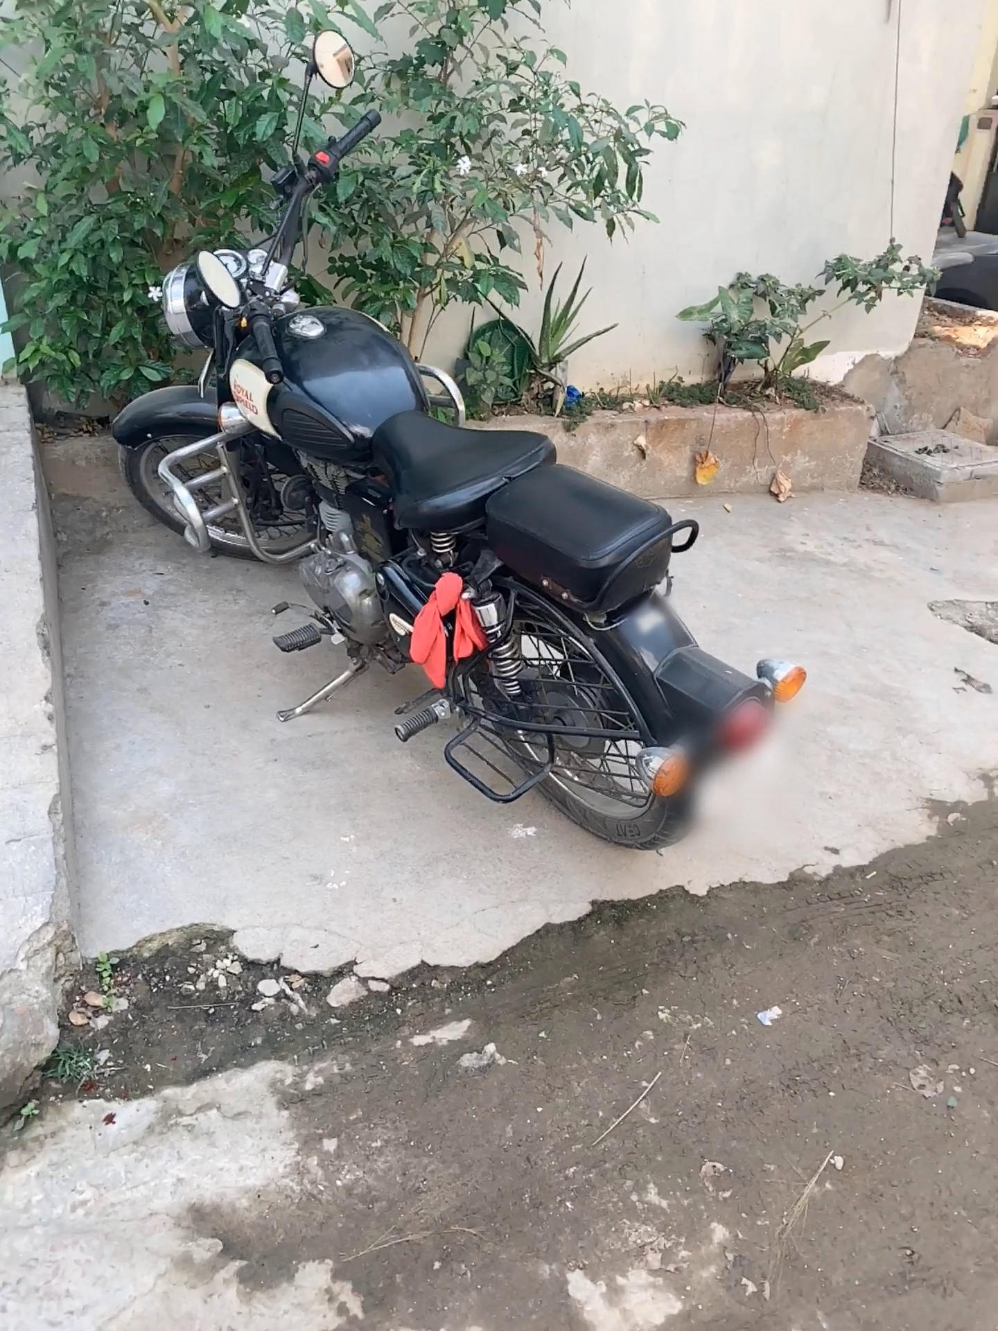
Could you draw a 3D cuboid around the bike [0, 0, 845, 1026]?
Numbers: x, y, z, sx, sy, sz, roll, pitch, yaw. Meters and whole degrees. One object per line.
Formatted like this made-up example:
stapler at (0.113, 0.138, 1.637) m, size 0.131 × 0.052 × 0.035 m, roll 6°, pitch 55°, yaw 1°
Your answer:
bike at (-0.415, -0.526, 2.056) m, size 1.790 × 1.340 × 0.747 m, roll 29°, pitch 38°, yaw 29°
